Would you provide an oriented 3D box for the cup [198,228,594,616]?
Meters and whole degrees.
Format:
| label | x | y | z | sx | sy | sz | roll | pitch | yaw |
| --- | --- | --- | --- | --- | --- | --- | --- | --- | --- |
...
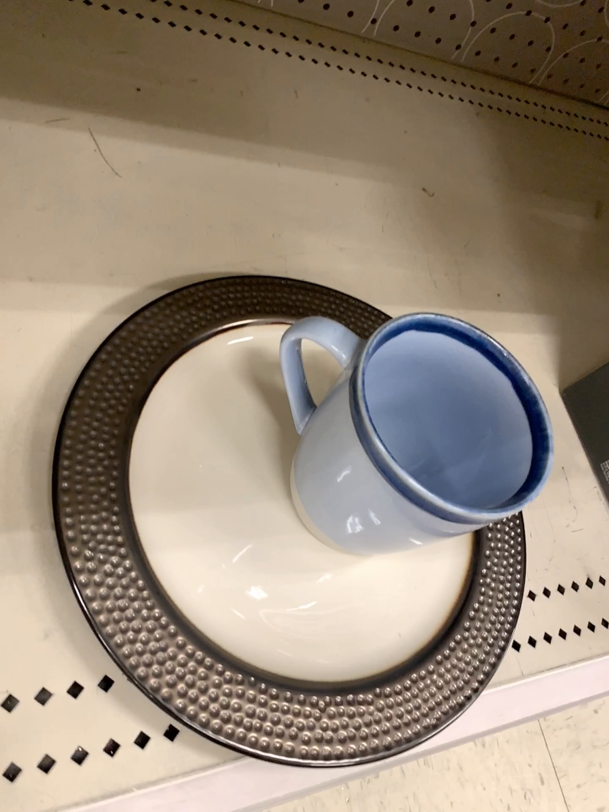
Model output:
| label | x | y | z | sx | sy | sz | roll | pitch | yaw |
| --- | --- | --- | --- | --- | --- | --- | --- | --- | --- |
| cup | 0.039 | 0.011 | 0.293 | 0.127 | 0.094 | 0.094 | 40 | 55 | -1 |
